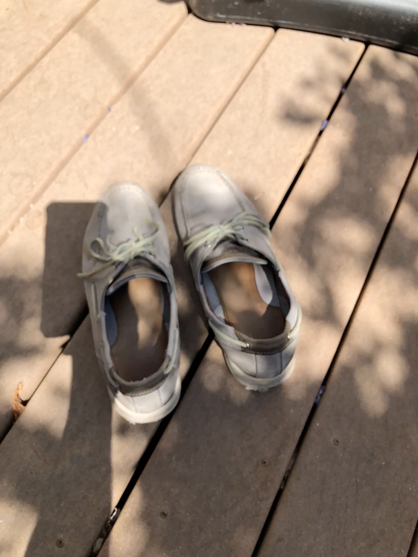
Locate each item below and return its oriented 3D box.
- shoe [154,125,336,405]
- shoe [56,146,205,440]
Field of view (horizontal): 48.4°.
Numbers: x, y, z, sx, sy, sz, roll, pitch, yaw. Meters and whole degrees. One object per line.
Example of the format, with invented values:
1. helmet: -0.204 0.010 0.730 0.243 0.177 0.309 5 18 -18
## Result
1. shoe: 0.026 -0.025 0.518 0.109 0.076 0.294 -13 66 -9
2. shoe: -0.088 0.005 0.497 0.109 0.076 0.294 -9 66 -7
